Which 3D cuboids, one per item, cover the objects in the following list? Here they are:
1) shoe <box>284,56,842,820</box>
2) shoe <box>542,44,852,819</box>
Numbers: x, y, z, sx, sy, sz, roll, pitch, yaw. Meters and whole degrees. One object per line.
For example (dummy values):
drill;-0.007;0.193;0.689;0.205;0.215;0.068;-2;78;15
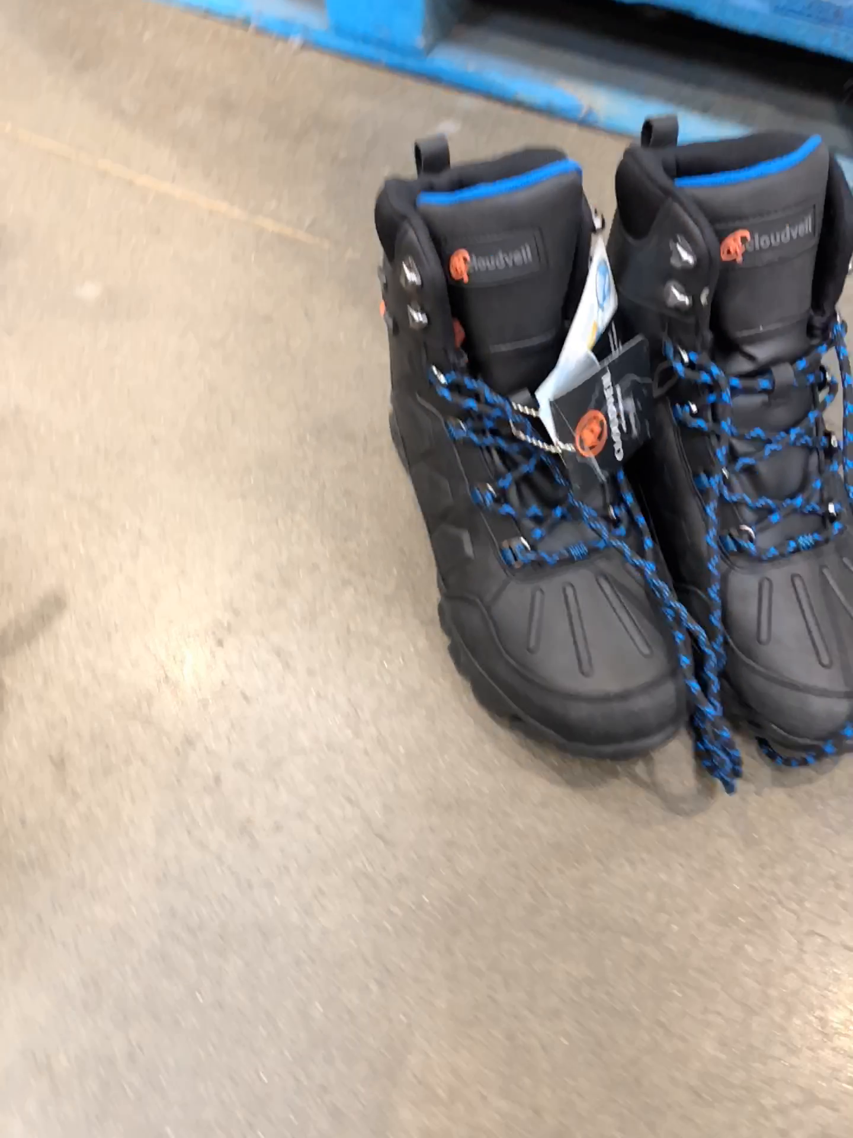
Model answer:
shoe;0.042;-0.063;0.479;0.120;0.210;0.300;-18;60;-7
shoe;0.164;-0.065;0.471;0.120;0.210;0.301;-13;59;-4
